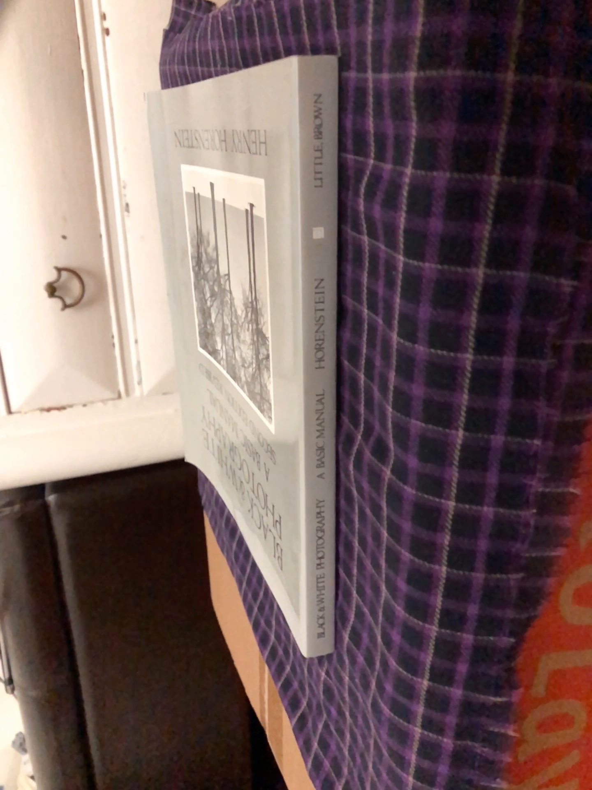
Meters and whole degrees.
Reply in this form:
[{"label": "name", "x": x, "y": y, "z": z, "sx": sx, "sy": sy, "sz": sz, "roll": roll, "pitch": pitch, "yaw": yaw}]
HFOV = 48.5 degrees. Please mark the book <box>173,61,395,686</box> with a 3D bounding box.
[{"label": "book", "x": -0.018, "y": -0.024, "z": 0.343, "sx": 0.211, "sy": 0.030, "sz": 0.250, "roll": -136, "pitch": 41, "yaw": -60}]
